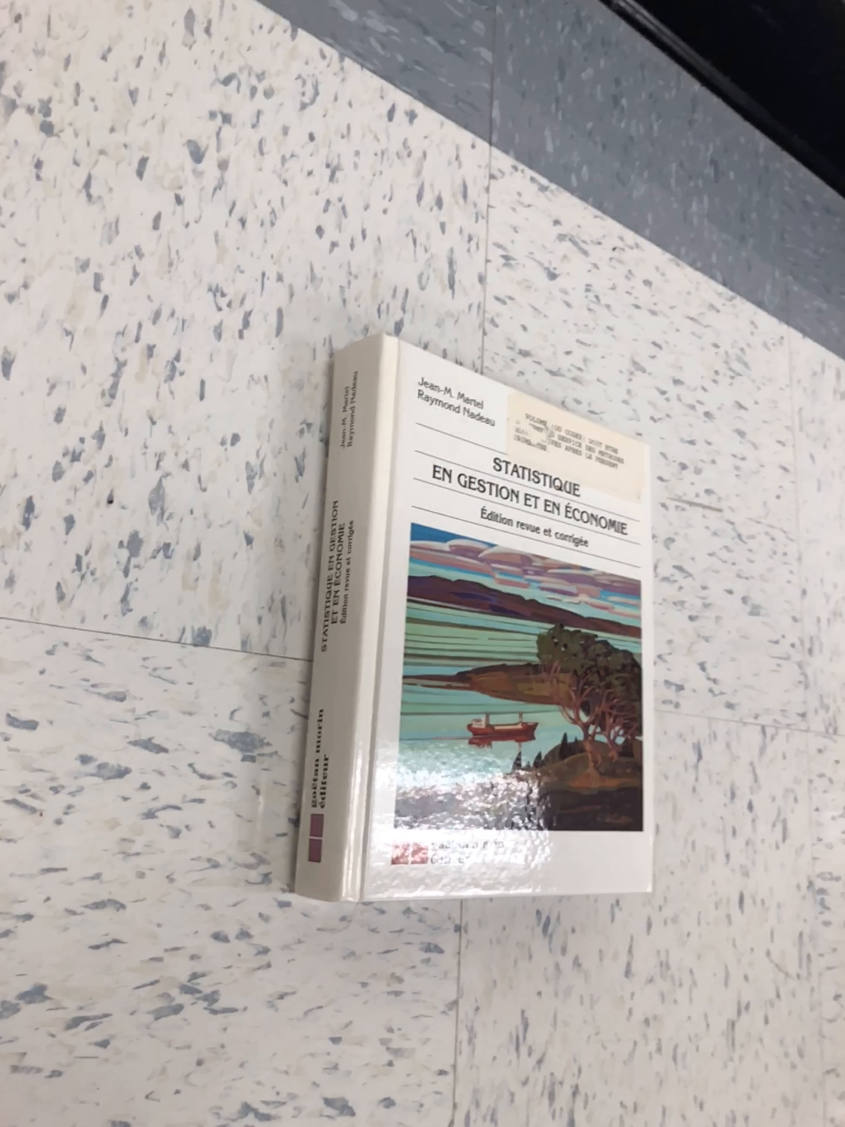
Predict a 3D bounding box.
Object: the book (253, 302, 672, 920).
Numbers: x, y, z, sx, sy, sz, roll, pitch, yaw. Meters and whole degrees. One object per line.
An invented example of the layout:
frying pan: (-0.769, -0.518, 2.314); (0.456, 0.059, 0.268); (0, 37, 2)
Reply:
book: (0.031, 0.031, 0.437); (0.191, 0.060, 0.240); (13, 73, -37)
